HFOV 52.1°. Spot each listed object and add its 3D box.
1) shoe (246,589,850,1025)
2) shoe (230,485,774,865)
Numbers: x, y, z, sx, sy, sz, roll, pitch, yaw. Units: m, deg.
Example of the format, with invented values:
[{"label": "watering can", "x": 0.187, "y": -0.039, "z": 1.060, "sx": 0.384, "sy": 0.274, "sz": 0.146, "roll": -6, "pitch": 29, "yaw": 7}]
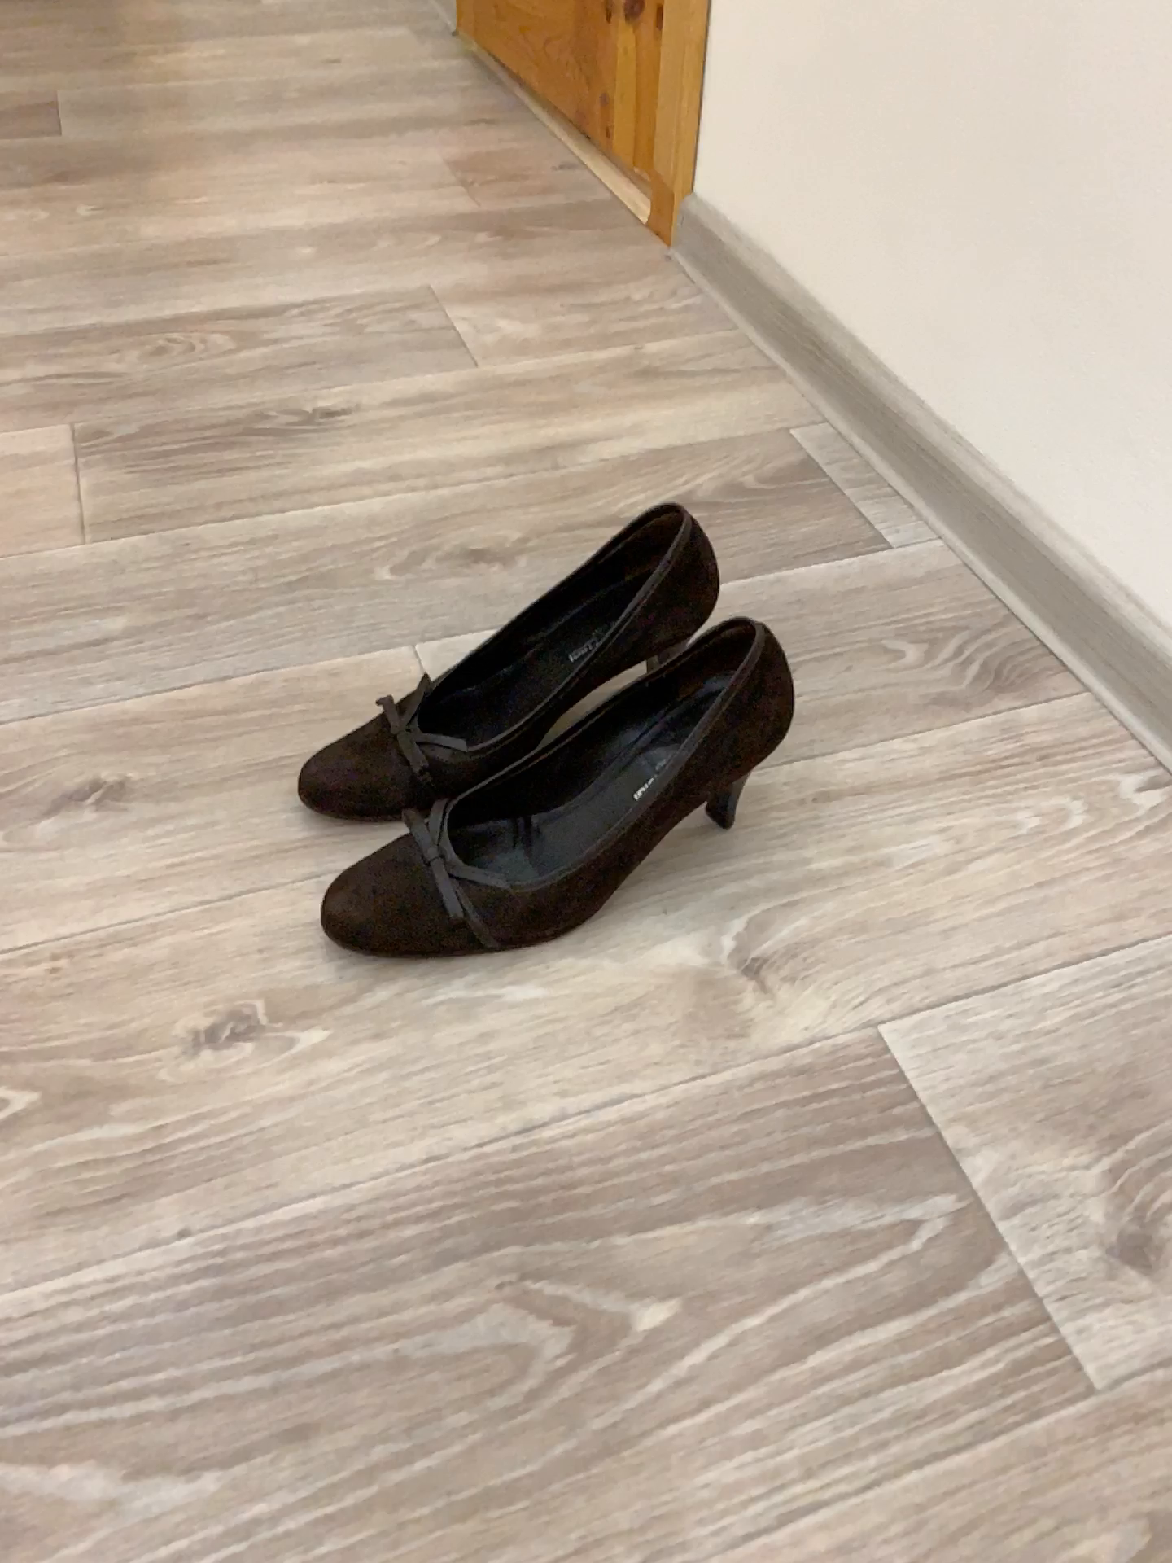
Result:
[{"label": "shoe", "x": -0.014, "y": 0.007, "z": 0.574, "sx": 0.260, "sy": 0.109, "sz": 0.080, "roll": -19, "pitch": 50, "yaw": -19}, {"label": "shoe", "x": -0.040, "y": -0.061, "z": 0.637, "sx": 0.260, "sy": 0.109, "sz": 0.080, "roll": -18, "pitch": 50, "yaw": -18}]
